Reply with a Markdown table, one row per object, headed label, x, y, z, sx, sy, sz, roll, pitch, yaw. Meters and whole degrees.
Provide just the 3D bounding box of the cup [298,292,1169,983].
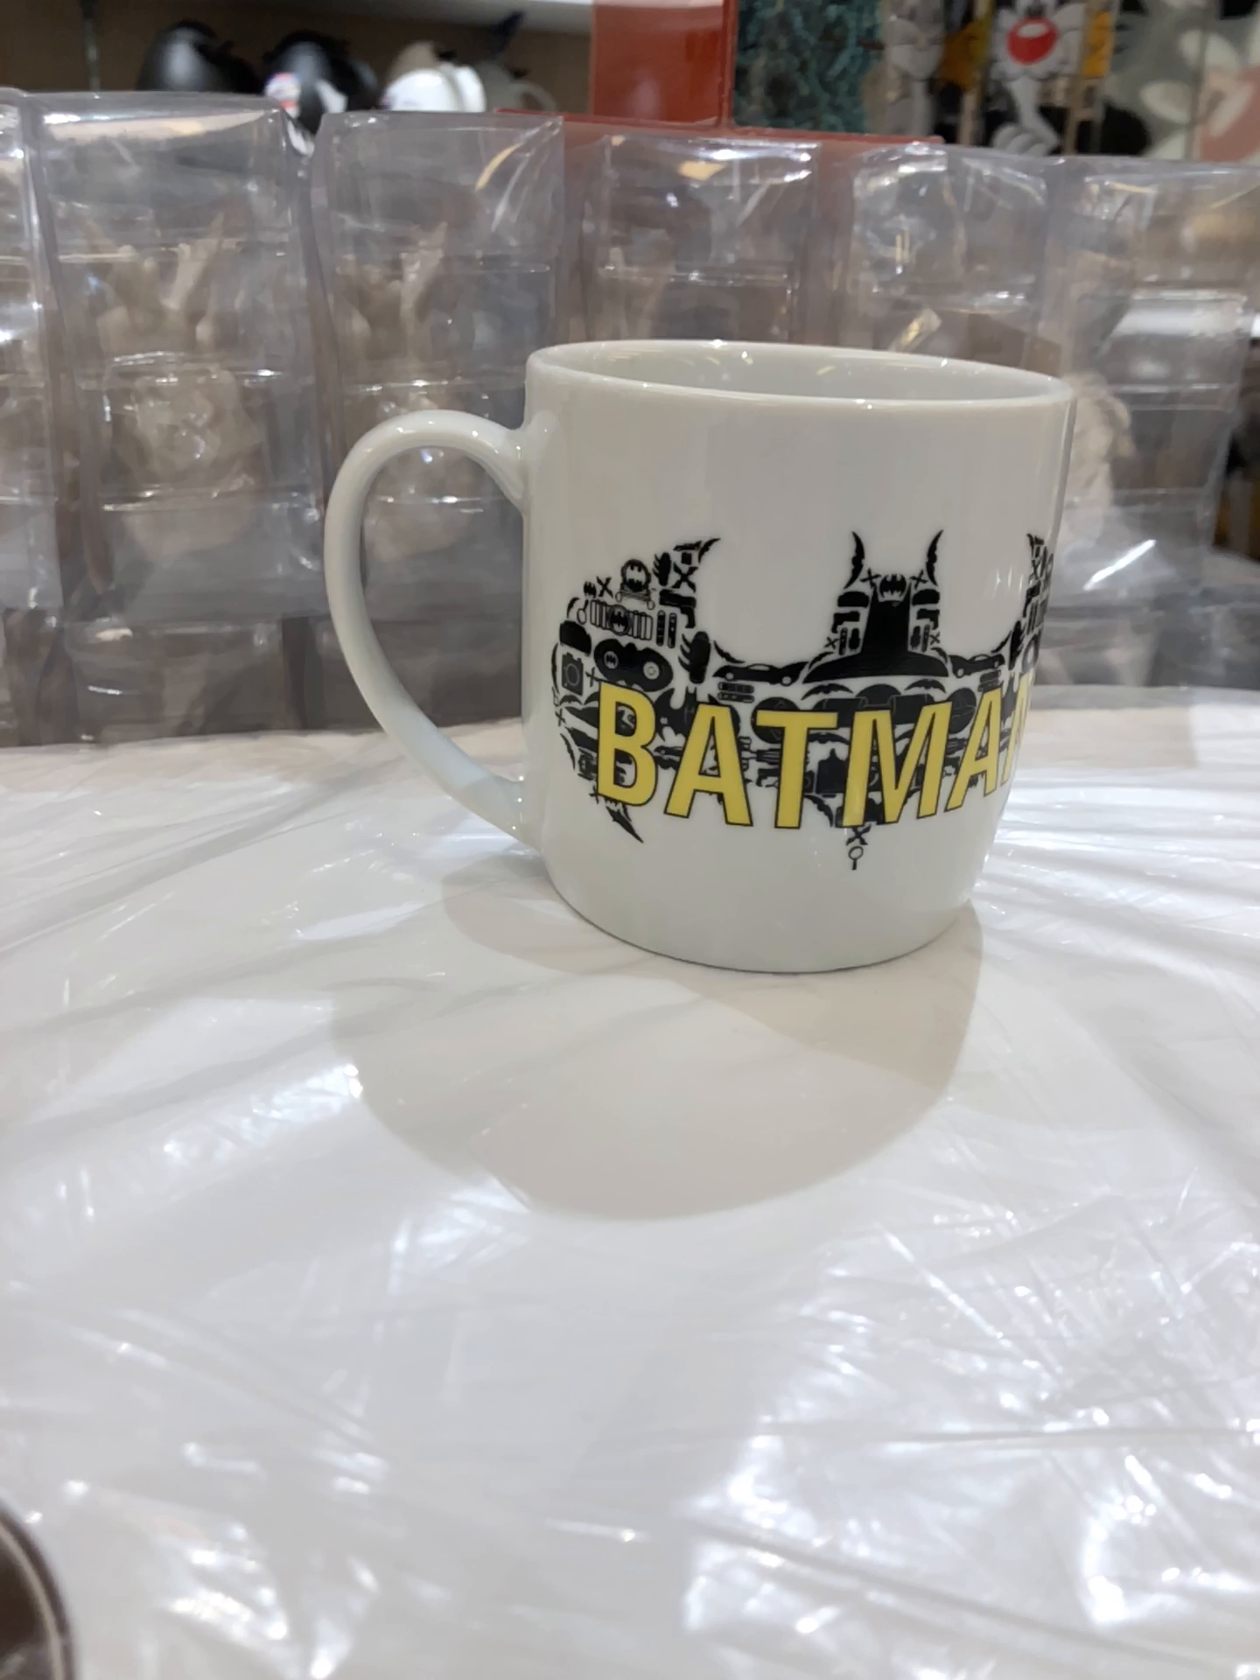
| label | x | y | z | sx | sy | sz | roll | pitch | yaw |
| --- | --- | --- | --- | --- | --- | --- | --- | --- | --- |
| cup | 0.011 | -0.038 | 0.232 | 0.110 | 0.089 | 0.081 | 2 | 23 | -2 |
